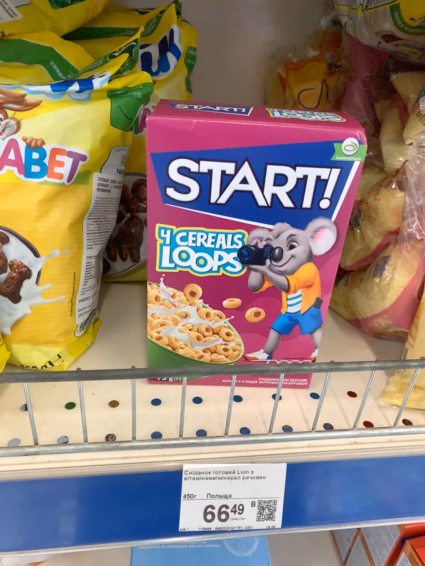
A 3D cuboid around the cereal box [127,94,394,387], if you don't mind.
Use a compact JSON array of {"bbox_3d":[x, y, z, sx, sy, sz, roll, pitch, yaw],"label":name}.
[{"bbox_3d":[0.016,-0.017,0.258,0.120,0.159,0.050,2,31,-4],"label":"cereal box"}]
